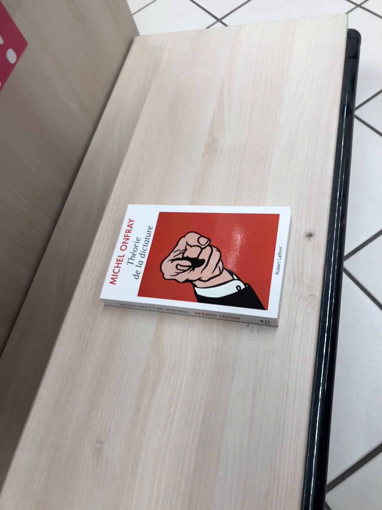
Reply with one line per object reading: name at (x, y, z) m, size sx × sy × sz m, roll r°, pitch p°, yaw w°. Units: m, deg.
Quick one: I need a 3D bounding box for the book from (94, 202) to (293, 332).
book at (0.005, 0.006, 0.490) m, size 0.206 × 0.029 × 0.139 m, roll 4°, pitch 62°, yaw 19°
